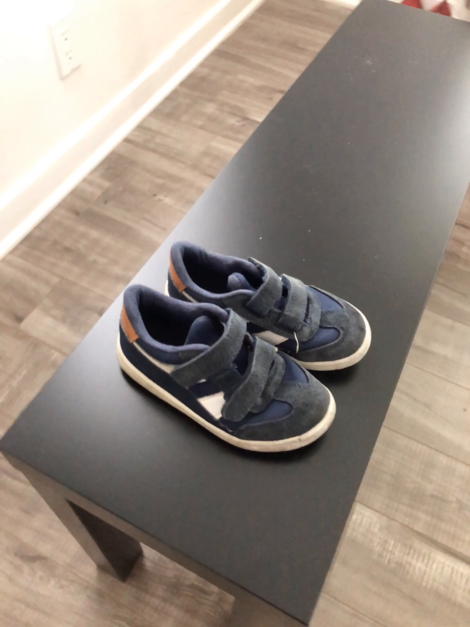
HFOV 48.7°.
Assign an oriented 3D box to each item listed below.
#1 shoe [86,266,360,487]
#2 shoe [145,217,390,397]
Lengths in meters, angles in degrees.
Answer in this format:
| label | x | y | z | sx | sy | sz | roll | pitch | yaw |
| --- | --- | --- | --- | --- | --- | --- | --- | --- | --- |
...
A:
| label | x | y | z | sx | sy | sz | roll | pitch | yaw |
| --- | --- | --- | --- | --- | --- | --- | --- | --- | --- |
| shoe | -0.010 | 0.047 | 0.410 | 0.185 | 0.068 | 0.082 | 24 | 56 | 13 |
| shoe | 0.028 | -0.007 | 0.452 | 0.185 | 0.068 | 0.088 | 16 | 55 | 7 |
